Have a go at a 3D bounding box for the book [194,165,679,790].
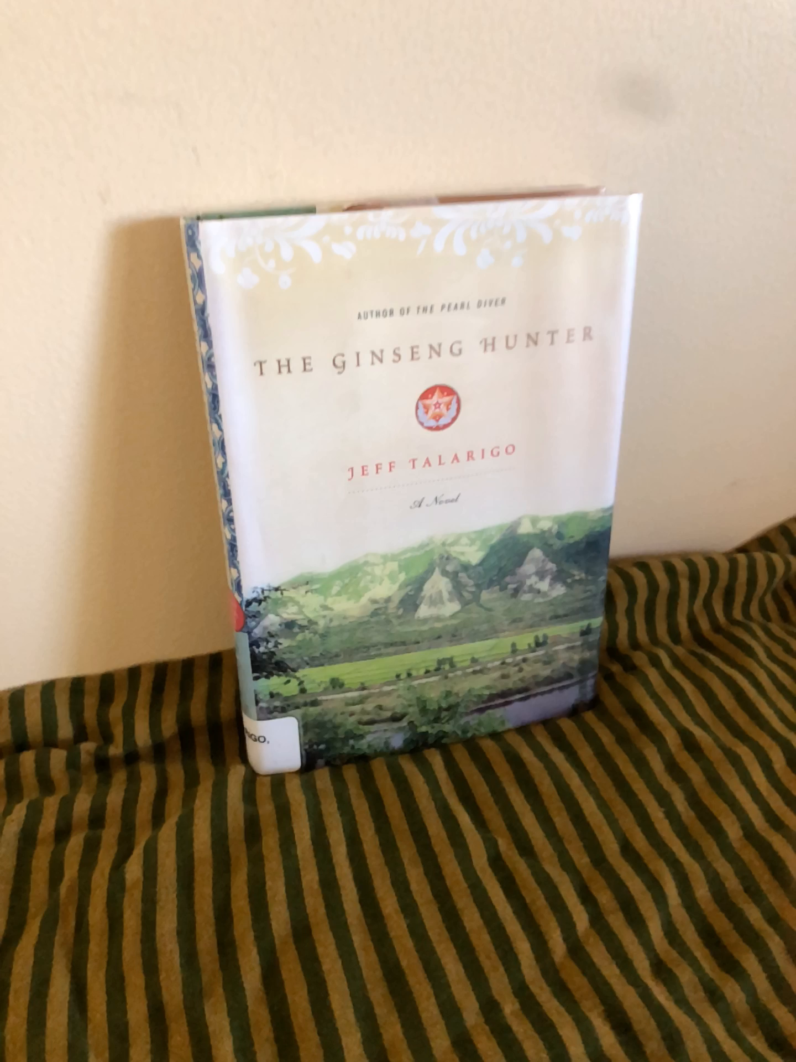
[{"bbox_3d":[0.011,-0.012,0.301,0.137,0.203,0.029,-9,31,-19],"label":"book"}]
